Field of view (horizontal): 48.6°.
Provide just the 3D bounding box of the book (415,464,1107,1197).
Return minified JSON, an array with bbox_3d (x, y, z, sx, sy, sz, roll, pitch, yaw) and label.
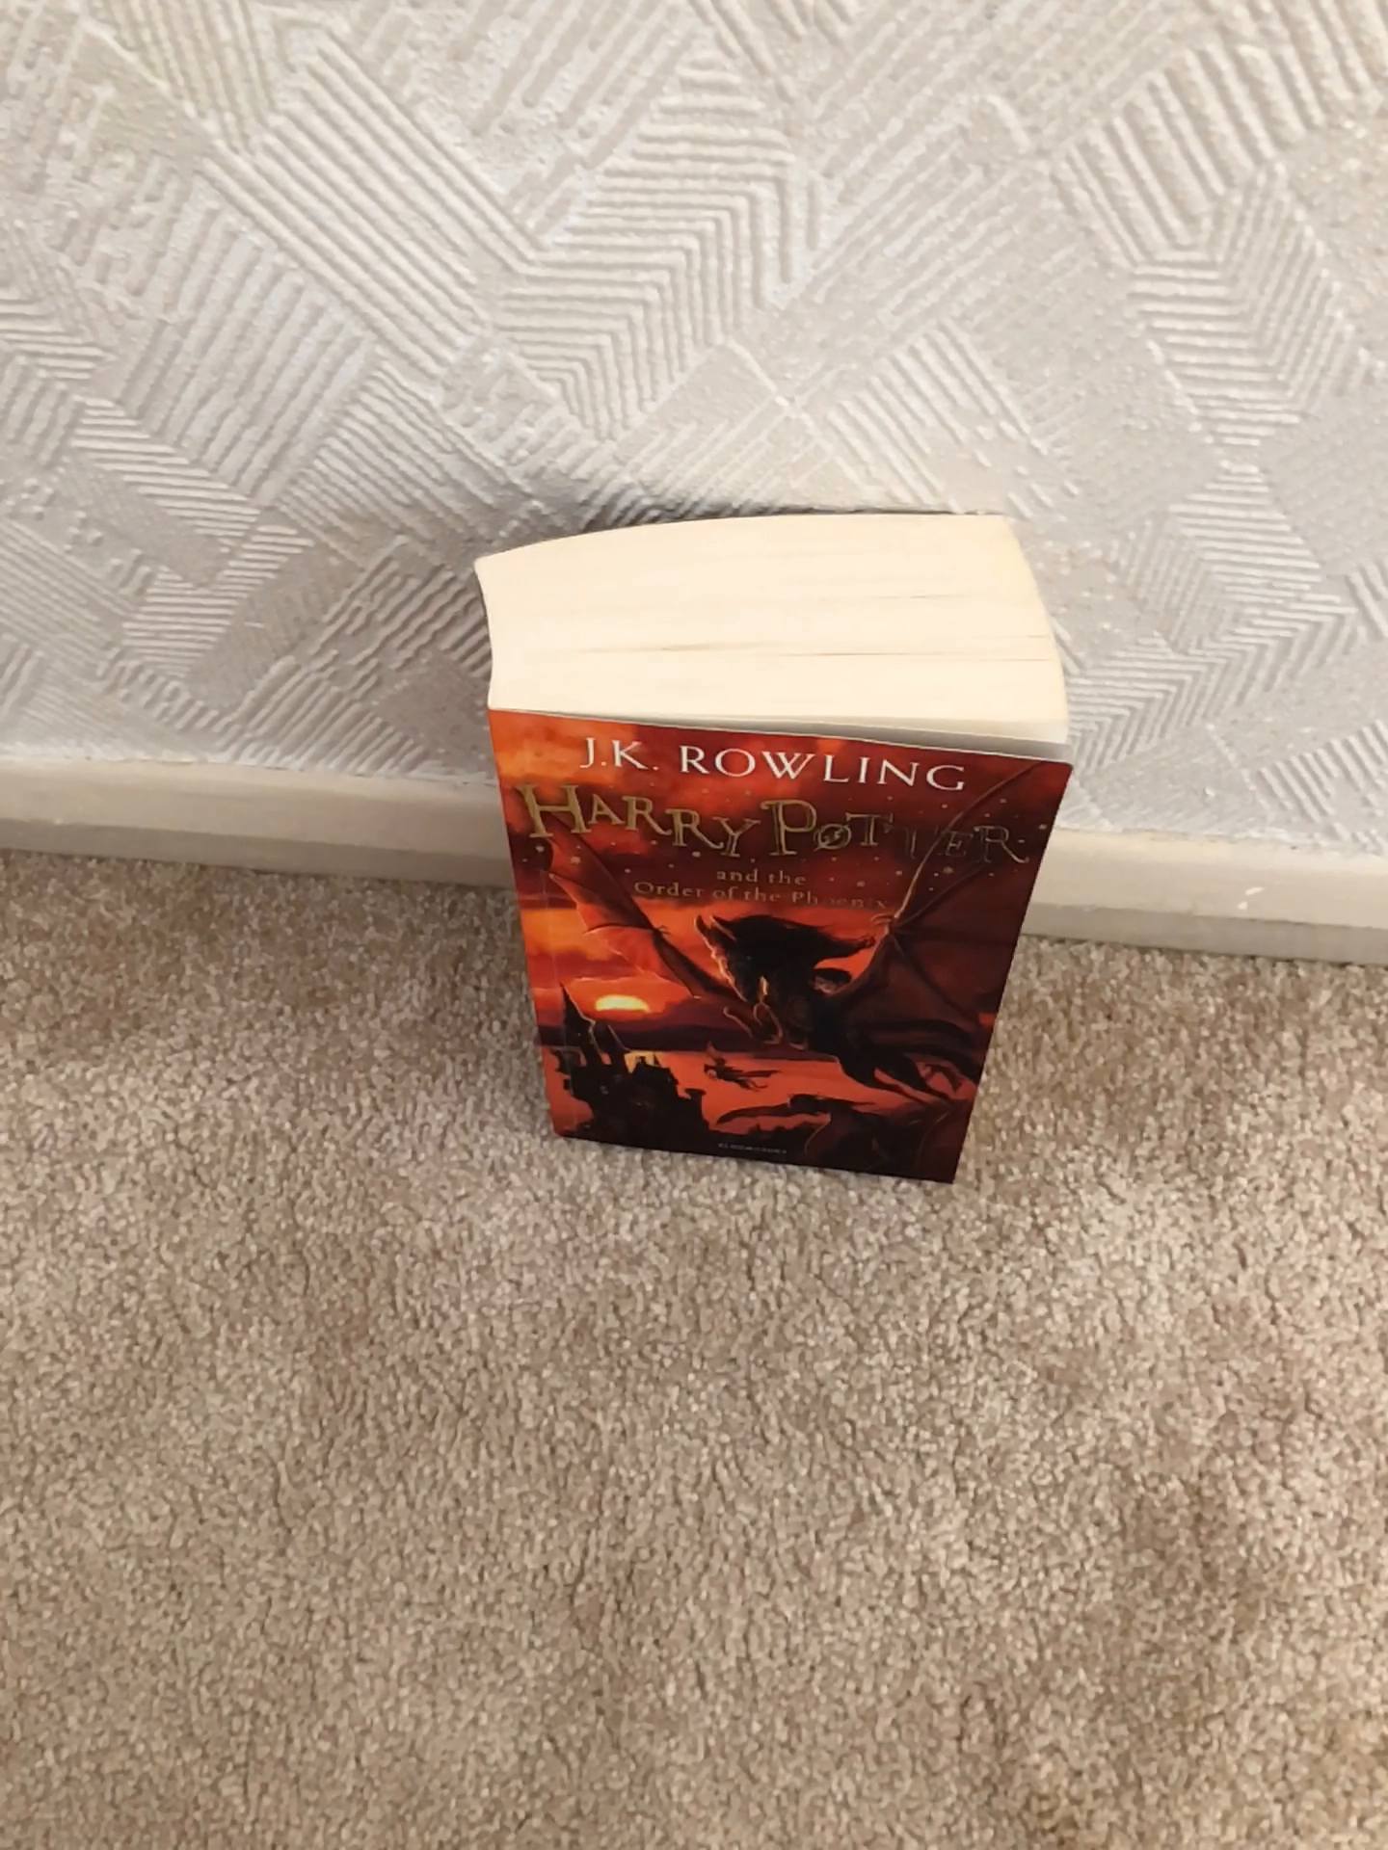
[{"bbox_3d":[0.020,-0.016,0.429,0.147,0.189,0.092,6,55,5],"label":"book"}]
